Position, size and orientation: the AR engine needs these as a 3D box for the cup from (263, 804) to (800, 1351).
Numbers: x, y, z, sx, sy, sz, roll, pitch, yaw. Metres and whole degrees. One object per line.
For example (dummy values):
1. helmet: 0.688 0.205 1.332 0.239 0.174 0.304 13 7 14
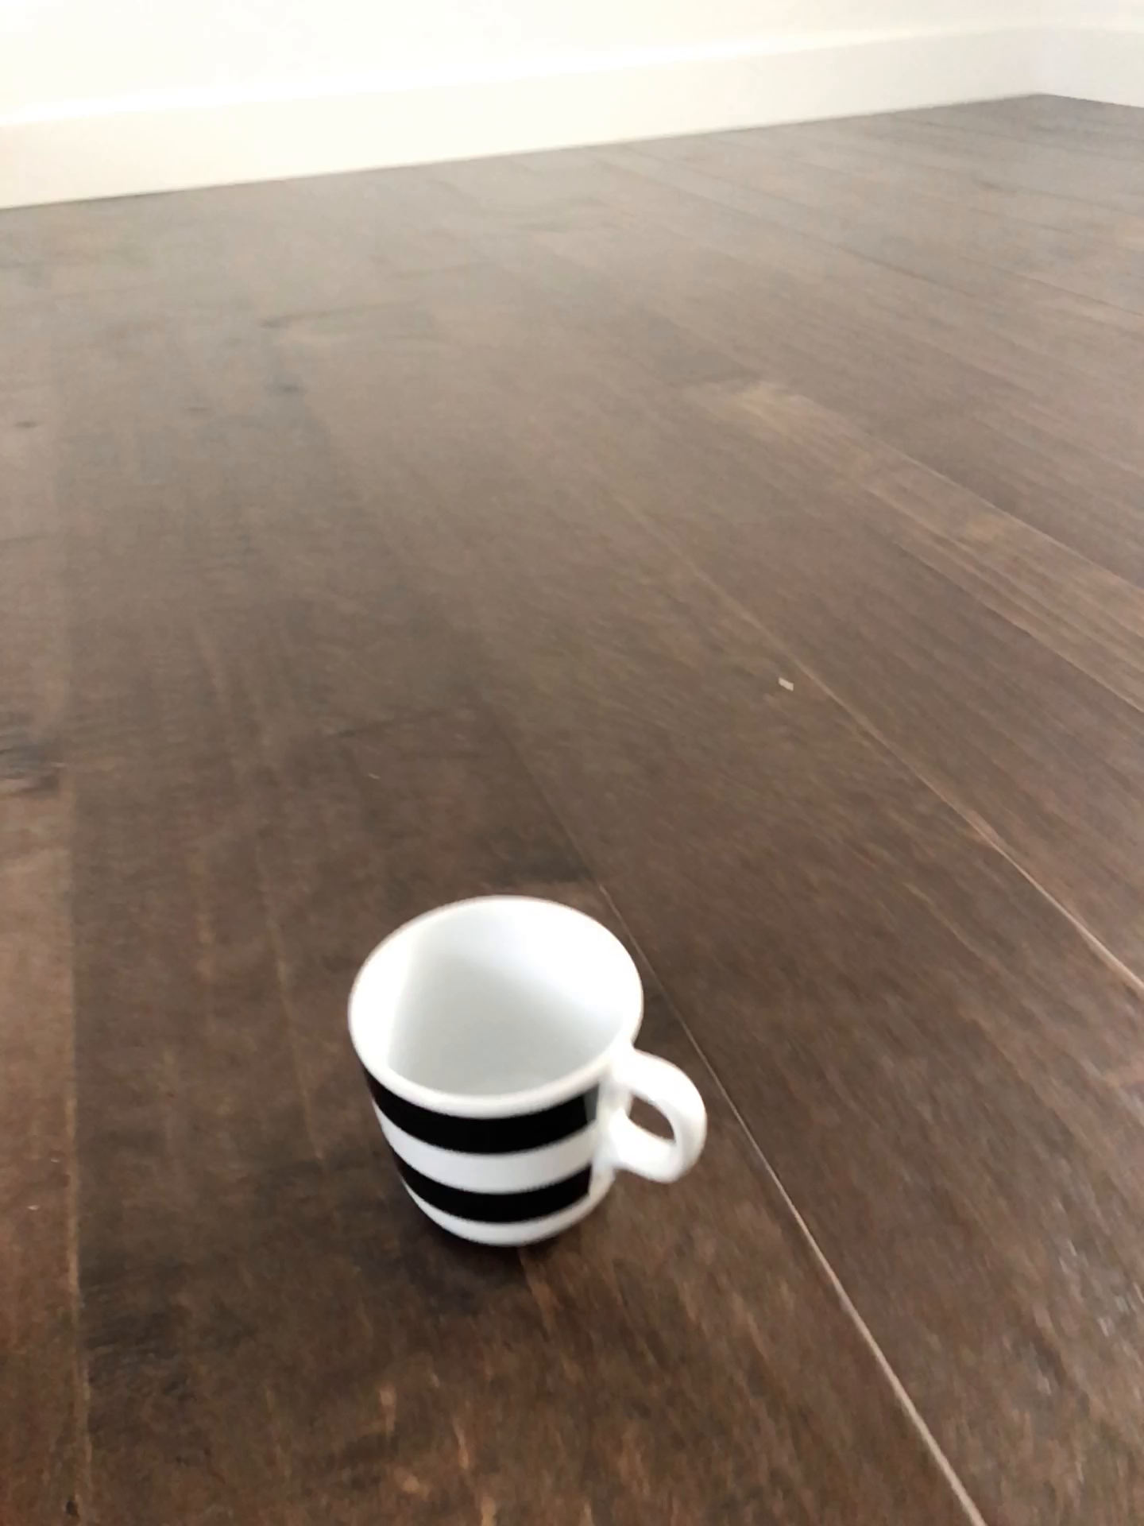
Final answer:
1. cup: -0.009 0.084 0.373 0.120 0.079 0.091 18 38 30
